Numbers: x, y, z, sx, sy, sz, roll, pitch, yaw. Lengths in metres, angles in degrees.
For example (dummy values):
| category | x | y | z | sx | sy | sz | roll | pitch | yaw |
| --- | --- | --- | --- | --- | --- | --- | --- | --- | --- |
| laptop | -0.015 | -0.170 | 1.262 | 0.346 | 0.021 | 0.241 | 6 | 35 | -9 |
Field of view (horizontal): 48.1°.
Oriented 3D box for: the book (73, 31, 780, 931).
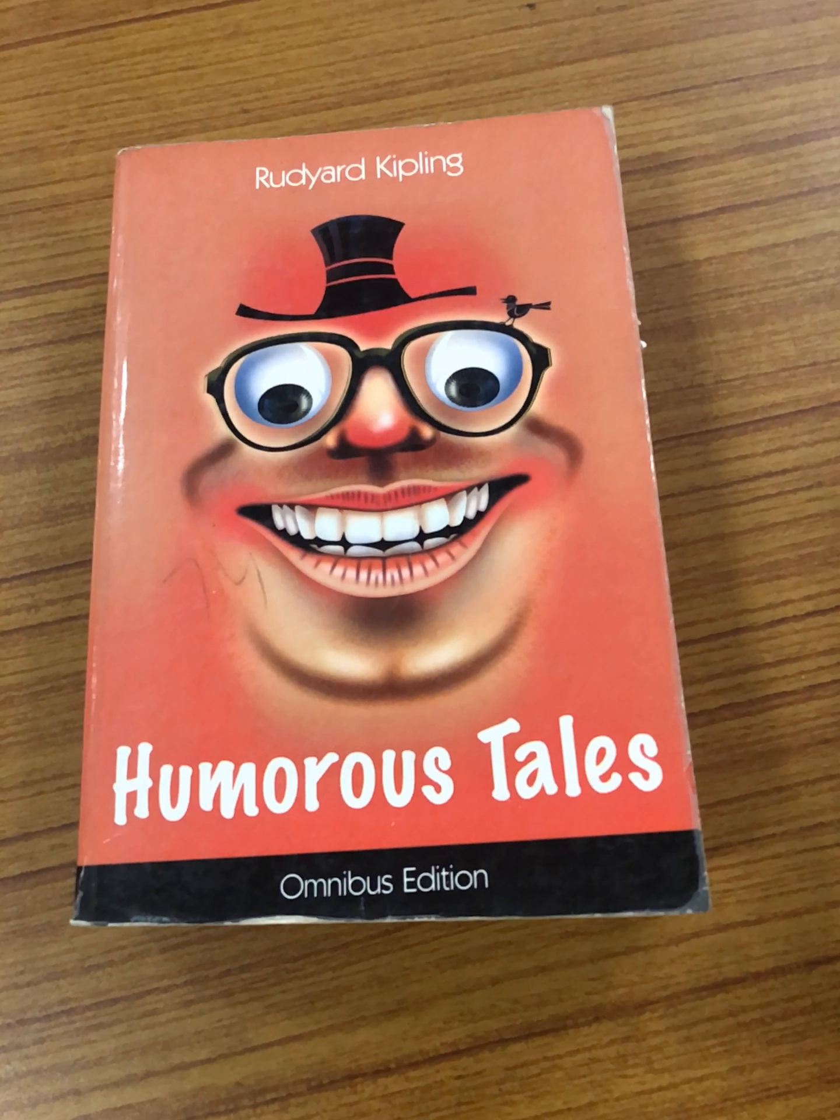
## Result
| category | x | y | z | sx | sy | sz | roll | pitch | yaw |
| --- | --- | --- | --- | --- | --- | --- | --- | --- | --- |
| book | -0.003 | -0.020 | 0.218 | 0.130 | 0.040 | 0.190 | -6 | 72 | 9 |
